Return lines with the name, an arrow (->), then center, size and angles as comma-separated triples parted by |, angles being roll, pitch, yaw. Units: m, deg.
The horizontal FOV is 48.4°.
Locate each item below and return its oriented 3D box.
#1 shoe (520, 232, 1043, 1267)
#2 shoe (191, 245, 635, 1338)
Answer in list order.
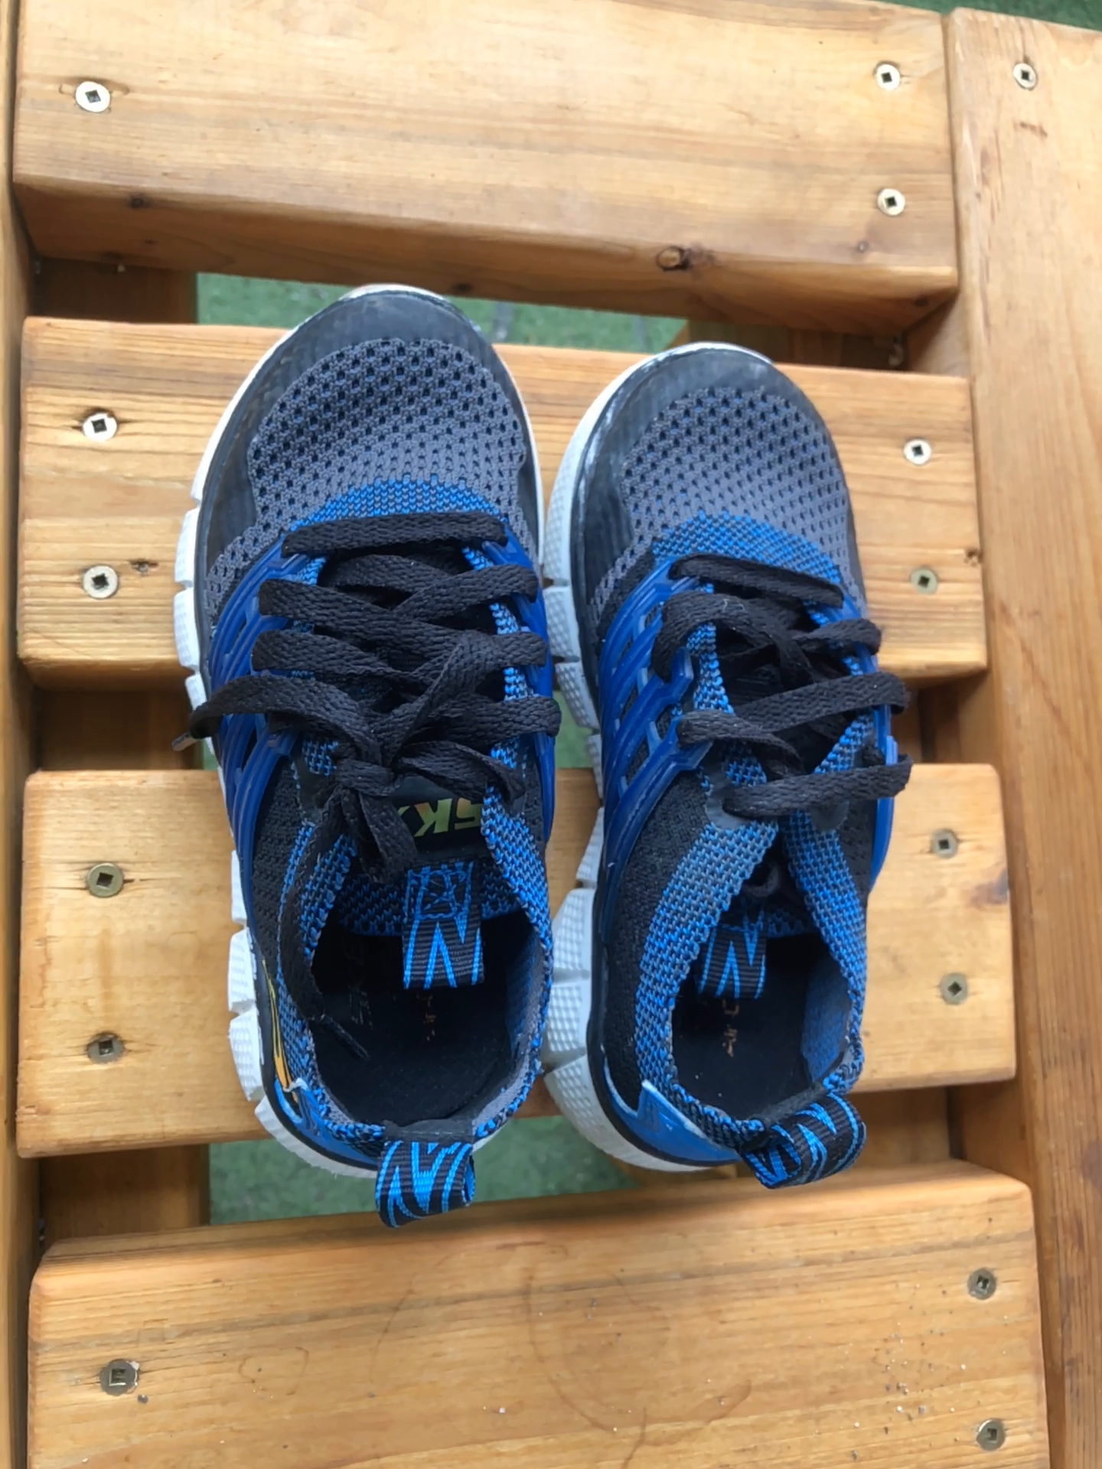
shoe -> 0.046, 0.005, 0.282 | 0.080, 0.100, 0.190 | 3, 84, -14
shoe -> -0.038, 0.011, 0.283 | 0.080, 0.100, 0.200 | -1, 85, -14
